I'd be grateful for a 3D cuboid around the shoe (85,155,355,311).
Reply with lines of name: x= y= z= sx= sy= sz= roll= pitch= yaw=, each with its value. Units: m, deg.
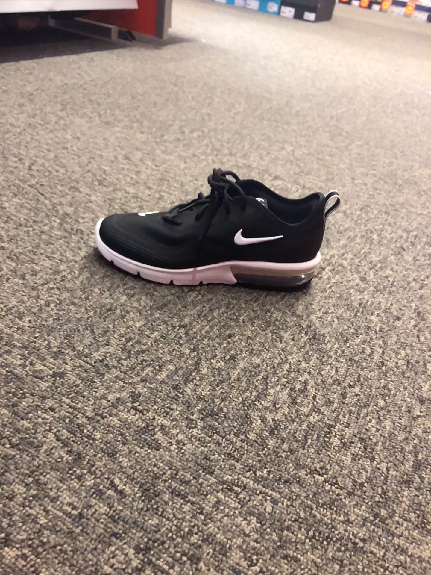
shoe: x=0.003 y=-0.061 z=0.521 sx=0.256 sy=0.109 sz=0.101 roll=6 pitch=35 yaw=0
